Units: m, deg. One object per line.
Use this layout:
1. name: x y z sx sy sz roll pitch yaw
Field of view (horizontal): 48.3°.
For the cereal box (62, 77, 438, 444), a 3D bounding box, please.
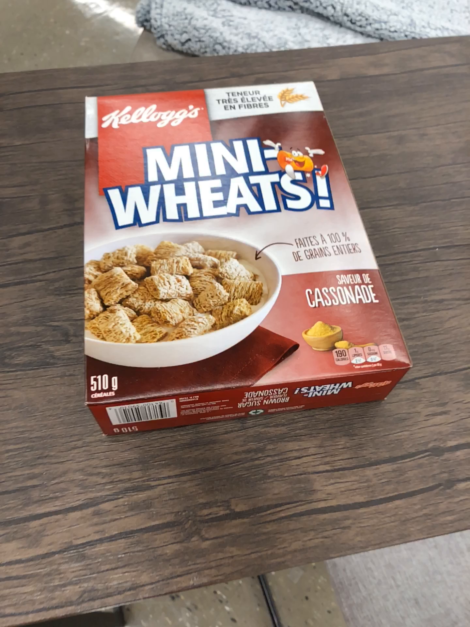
1. cereal box: -0.008 -0.056 0.379 0.210 0.060 0.260 -6 60 -6
